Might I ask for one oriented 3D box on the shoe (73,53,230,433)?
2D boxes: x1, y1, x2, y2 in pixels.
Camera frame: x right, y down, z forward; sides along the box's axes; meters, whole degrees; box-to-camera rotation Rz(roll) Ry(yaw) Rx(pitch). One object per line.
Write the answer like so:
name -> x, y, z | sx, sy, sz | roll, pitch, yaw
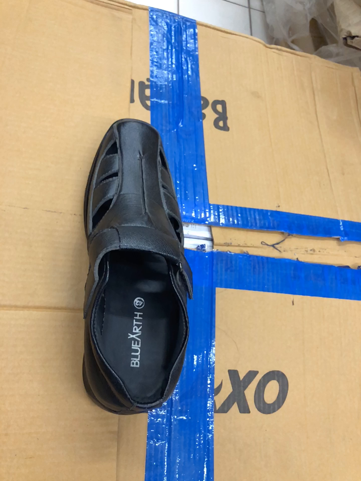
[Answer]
shoe -> -0.032, -0.002, 0.364 | 0.101, 0.097, 0.304 | 5, 70, -19
